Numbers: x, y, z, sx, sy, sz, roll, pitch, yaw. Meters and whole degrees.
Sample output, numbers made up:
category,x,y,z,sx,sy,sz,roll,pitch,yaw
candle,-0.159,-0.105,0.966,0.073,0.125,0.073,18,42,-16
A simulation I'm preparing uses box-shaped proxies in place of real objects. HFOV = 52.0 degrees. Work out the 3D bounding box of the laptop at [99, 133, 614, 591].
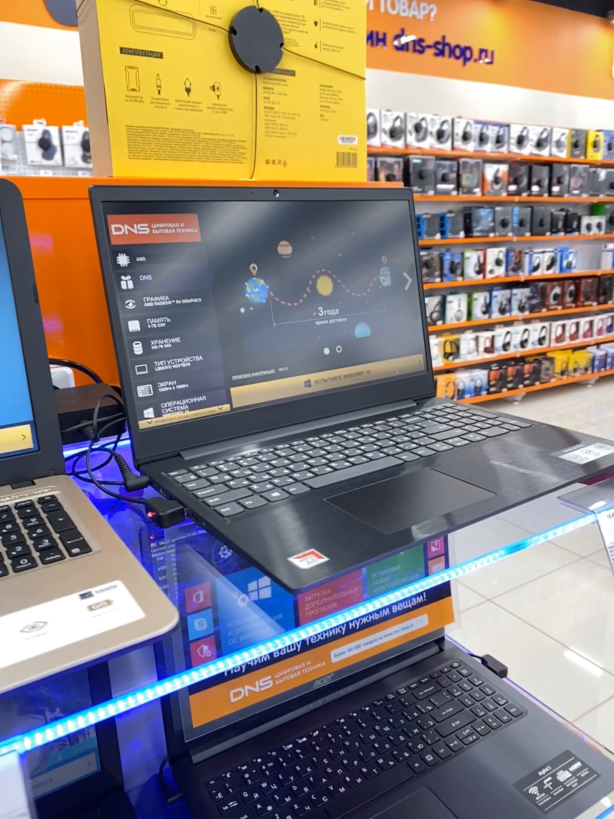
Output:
category,x,y,z,sx,sy,sz,roll,pitch,yaw
laptop,0.059,-0.076,0.531,0.359,0.233,0.298,-12,18,-32
